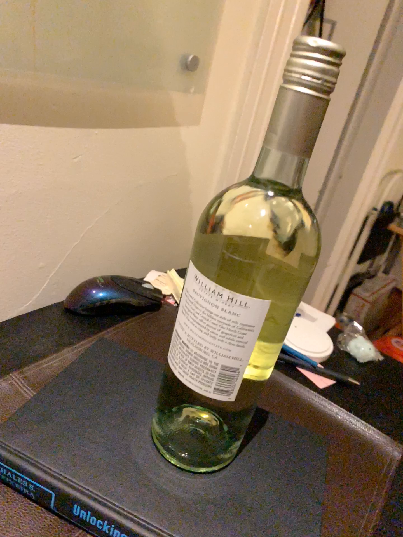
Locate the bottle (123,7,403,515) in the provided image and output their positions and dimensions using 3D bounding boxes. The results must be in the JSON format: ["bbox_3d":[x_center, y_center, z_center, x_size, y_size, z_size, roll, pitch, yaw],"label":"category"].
[{"bbox_3d":[0.032,0.012,0.282,0.090,0.298,0.090,11,26,-6],"label":"bottle"}]
